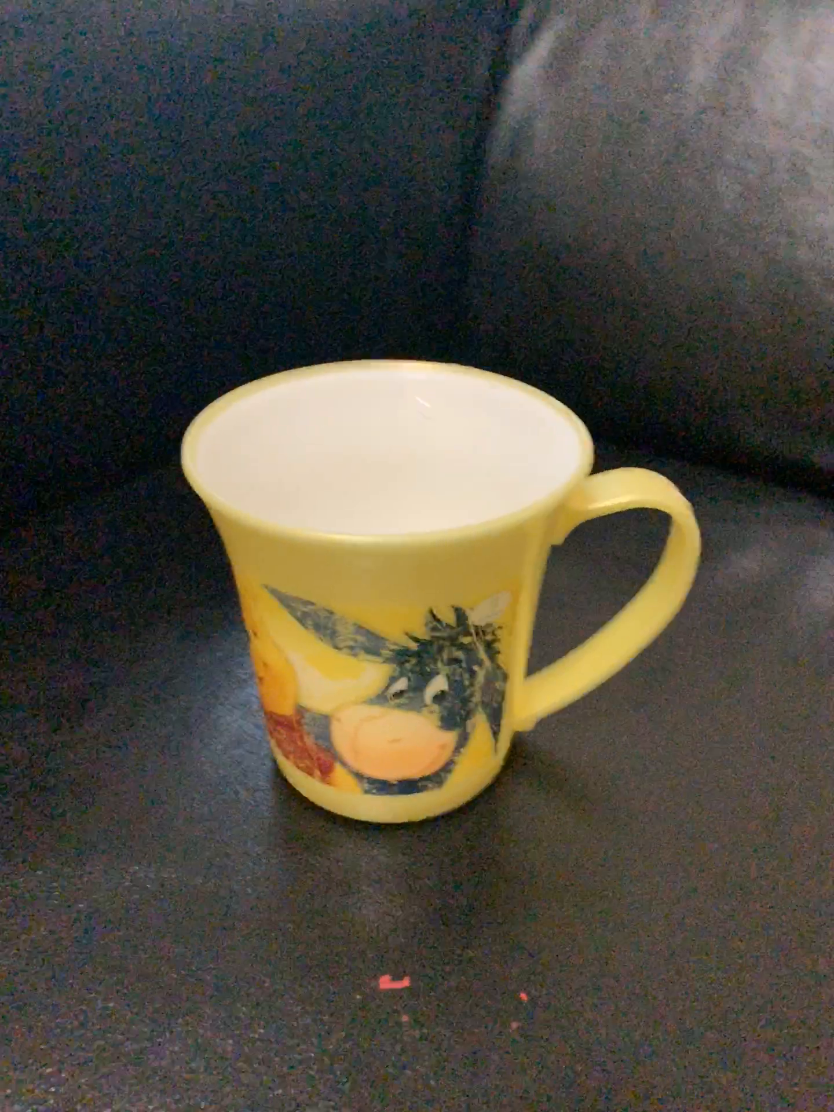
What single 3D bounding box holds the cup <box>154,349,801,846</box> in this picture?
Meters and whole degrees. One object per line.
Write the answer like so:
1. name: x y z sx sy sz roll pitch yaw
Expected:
1. cup: 0.008 0.003 0.217 0.120 0.080 0.090 -3 31 -6
